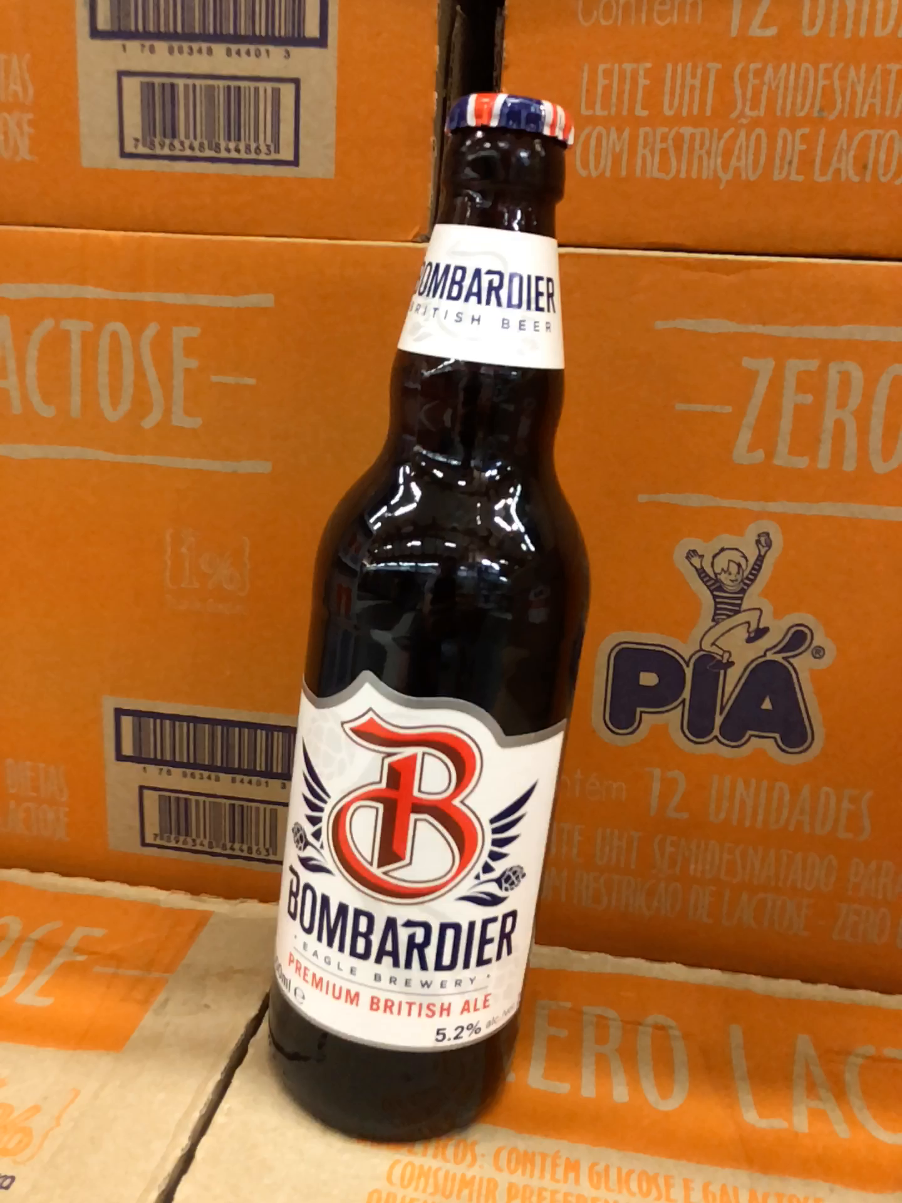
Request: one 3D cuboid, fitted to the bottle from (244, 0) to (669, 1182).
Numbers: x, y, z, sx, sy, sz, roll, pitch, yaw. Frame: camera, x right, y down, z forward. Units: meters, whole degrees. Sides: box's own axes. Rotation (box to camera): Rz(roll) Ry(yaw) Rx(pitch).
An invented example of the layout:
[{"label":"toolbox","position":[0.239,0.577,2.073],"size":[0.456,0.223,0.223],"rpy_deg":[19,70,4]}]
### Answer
[{"label":"bottle","position":[-0.001,0.004,0.247],"size":[0.070,0.259,0.060],"rpy_deg":[7,13,9]}]
